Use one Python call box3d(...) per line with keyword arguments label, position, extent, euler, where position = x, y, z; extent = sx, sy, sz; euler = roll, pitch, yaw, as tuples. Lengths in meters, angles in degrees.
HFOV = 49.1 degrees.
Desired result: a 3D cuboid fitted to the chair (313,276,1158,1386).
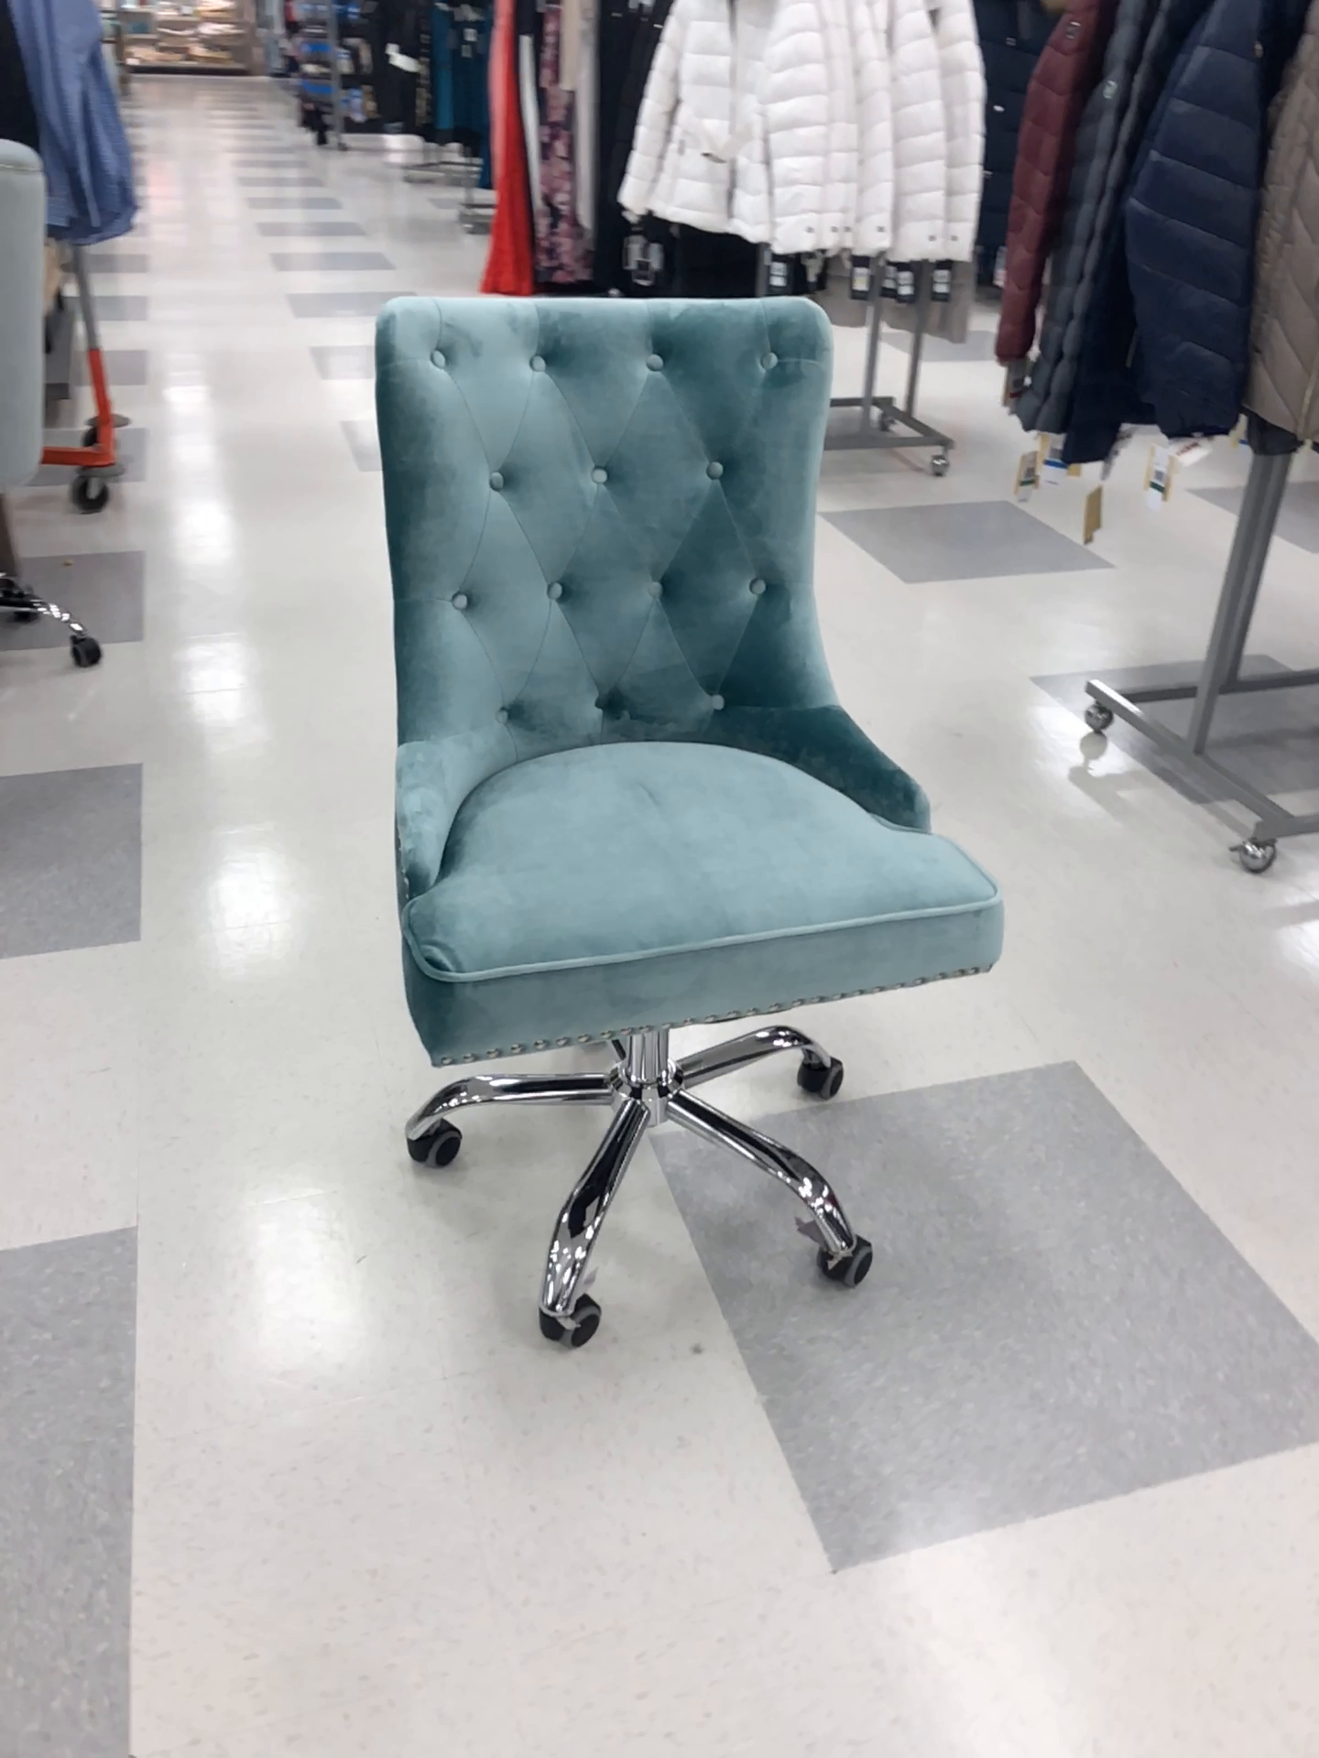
box3d(label="chair", position=(0.002, -0.084, 1.523), extent=(0.598, 0.934, 0.608), euler=(-7, 32, -14))
